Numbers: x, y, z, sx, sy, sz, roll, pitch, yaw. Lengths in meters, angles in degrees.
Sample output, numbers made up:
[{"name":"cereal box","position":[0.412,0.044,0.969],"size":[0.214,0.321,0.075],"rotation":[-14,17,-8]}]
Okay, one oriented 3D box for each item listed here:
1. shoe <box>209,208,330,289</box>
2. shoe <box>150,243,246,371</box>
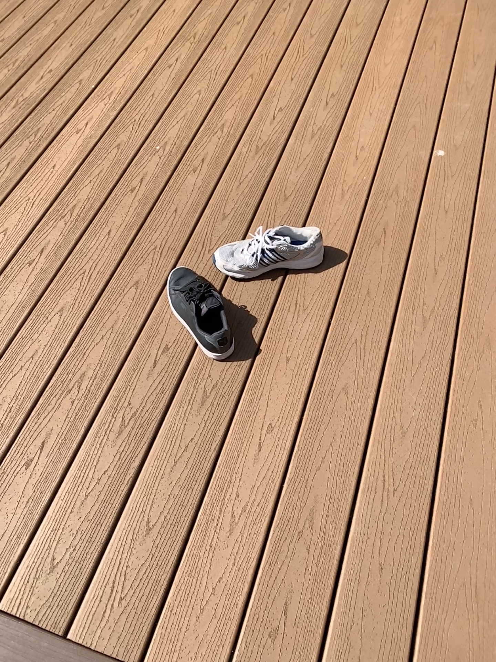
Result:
[{"name":"shoe","position":[0.049,-0.201,1.237],"size":[0.270,0.120,0.110],"rotation":[-8,58,-3]},{"name":"shoe","position":[-0.114,-0.058,1.138],"size":[0.110,0.100,0.261],"rotation":[-24,60,-12]}]
